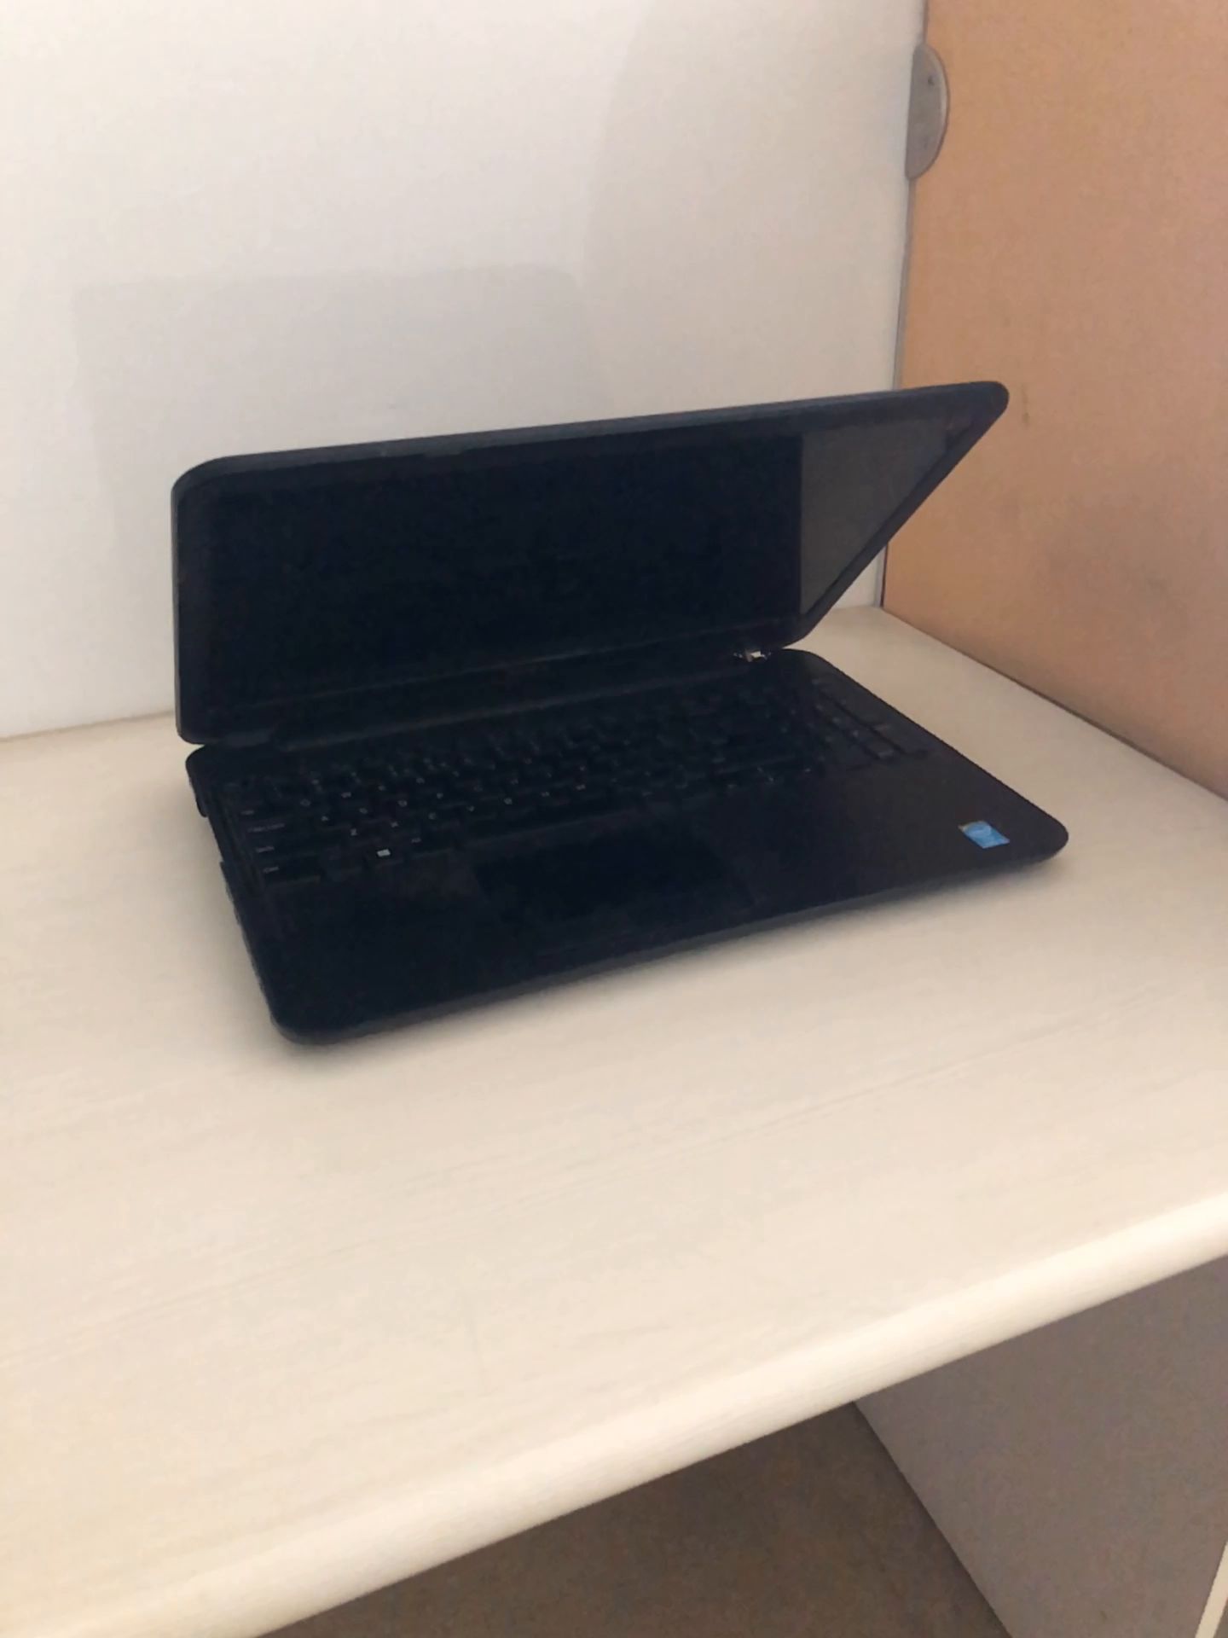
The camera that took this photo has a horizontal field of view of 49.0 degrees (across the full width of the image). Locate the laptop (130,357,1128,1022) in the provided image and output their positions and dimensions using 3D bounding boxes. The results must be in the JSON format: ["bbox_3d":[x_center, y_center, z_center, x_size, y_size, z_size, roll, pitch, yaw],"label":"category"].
[{"bbox_3d":[-0.004,-0.091,0.628,0.365,0.177,0.248,-11,31,-22],"label":"laptop"}]
